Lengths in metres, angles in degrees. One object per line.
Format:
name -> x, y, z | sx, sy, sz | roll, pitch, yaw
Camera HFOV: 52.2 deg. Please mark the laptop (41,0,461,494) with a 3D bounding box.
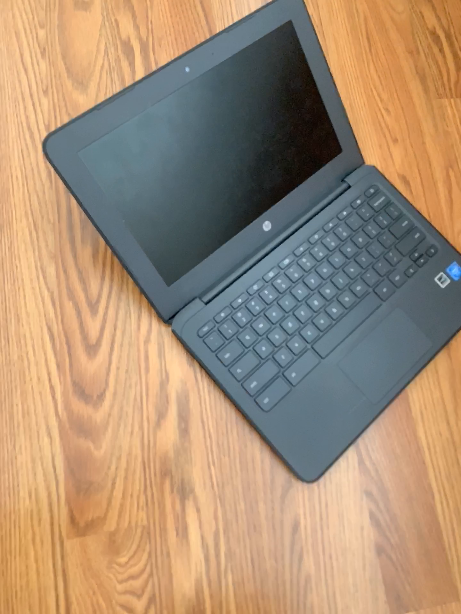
laptop -> 0.071, -0.074, 0.453 | 0.299, 0.110, 0.360 | -40, 83, -17
